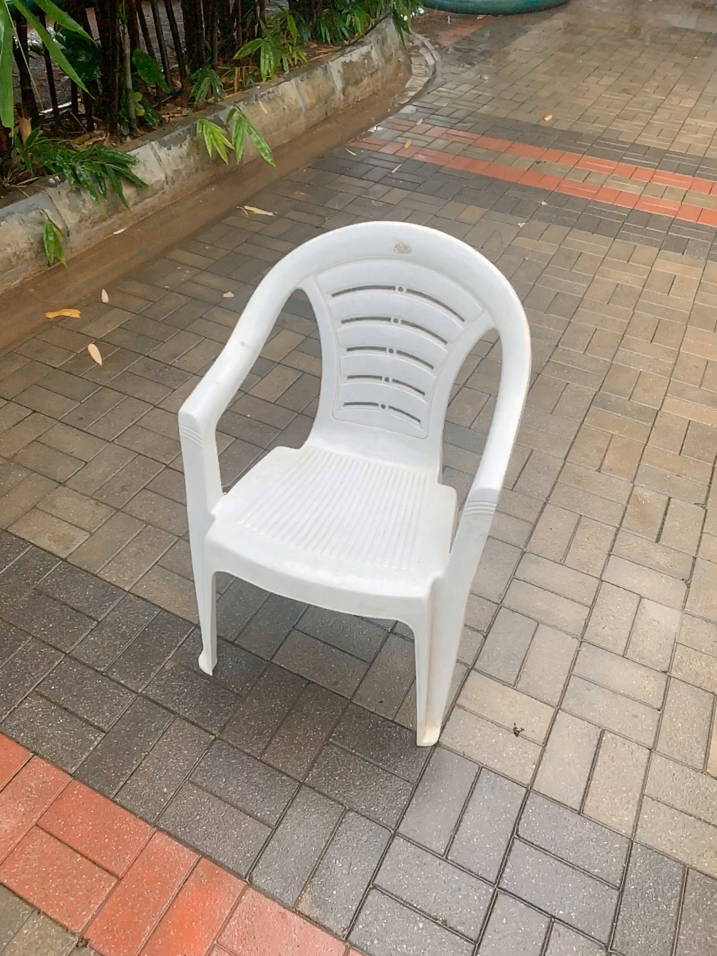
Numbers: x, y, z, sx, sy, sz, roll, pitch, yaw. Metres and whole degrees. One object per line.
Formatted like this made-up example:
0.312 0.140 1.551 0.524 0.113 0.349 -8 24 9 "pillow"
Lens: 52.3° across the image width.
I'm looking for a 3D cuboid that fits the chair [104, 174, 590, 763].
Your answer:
0.012 -0.014 1.325 0.560 0.777 0.572 14 43 10 "chair"
